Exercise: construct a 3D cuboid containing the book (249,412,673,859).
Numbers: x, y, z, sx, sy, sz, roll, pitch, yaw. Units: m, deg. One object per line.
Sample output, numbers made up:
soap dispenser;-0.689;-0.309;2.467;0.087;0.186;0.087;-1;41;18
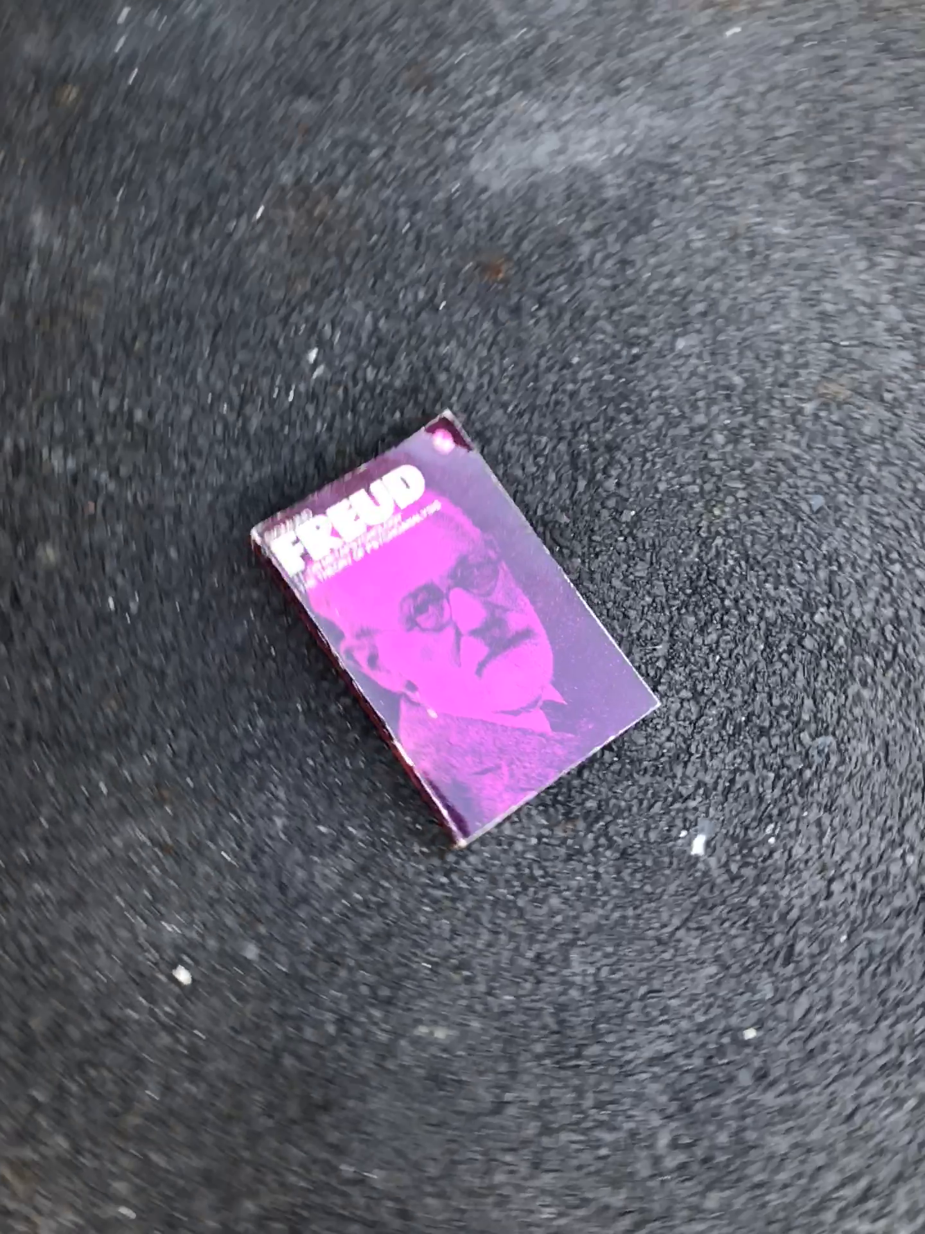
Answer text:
book;-0.002;0.006;0.534;0.131;0.031;0.194;-32;80;-14
